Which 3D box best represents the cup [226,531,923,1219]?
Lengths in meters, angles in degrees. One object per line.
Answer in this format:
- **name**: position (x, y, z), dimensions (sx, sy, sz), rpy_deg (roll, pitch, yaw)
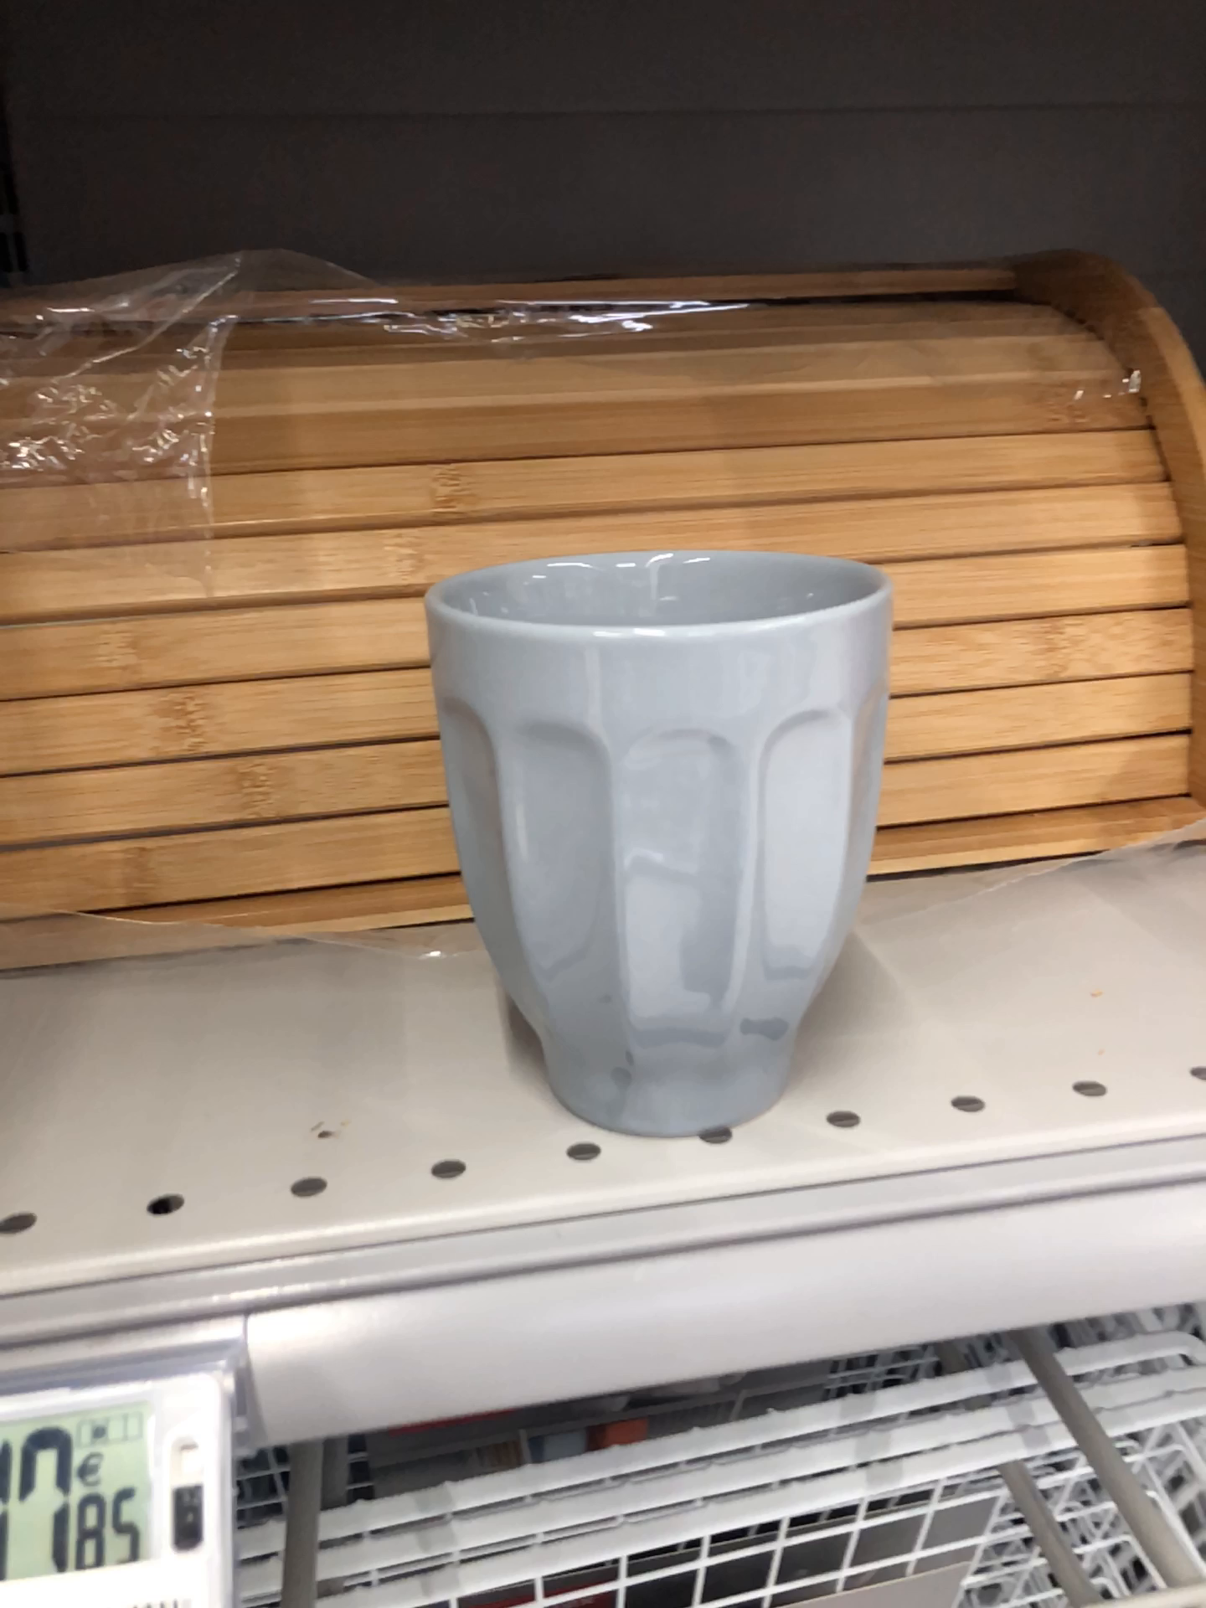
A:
- **cup**: position (0.004, 0.001, 0.269), dimensions (0.092, 0.091, 0.117), rpy_deg (7, 21, 23)
